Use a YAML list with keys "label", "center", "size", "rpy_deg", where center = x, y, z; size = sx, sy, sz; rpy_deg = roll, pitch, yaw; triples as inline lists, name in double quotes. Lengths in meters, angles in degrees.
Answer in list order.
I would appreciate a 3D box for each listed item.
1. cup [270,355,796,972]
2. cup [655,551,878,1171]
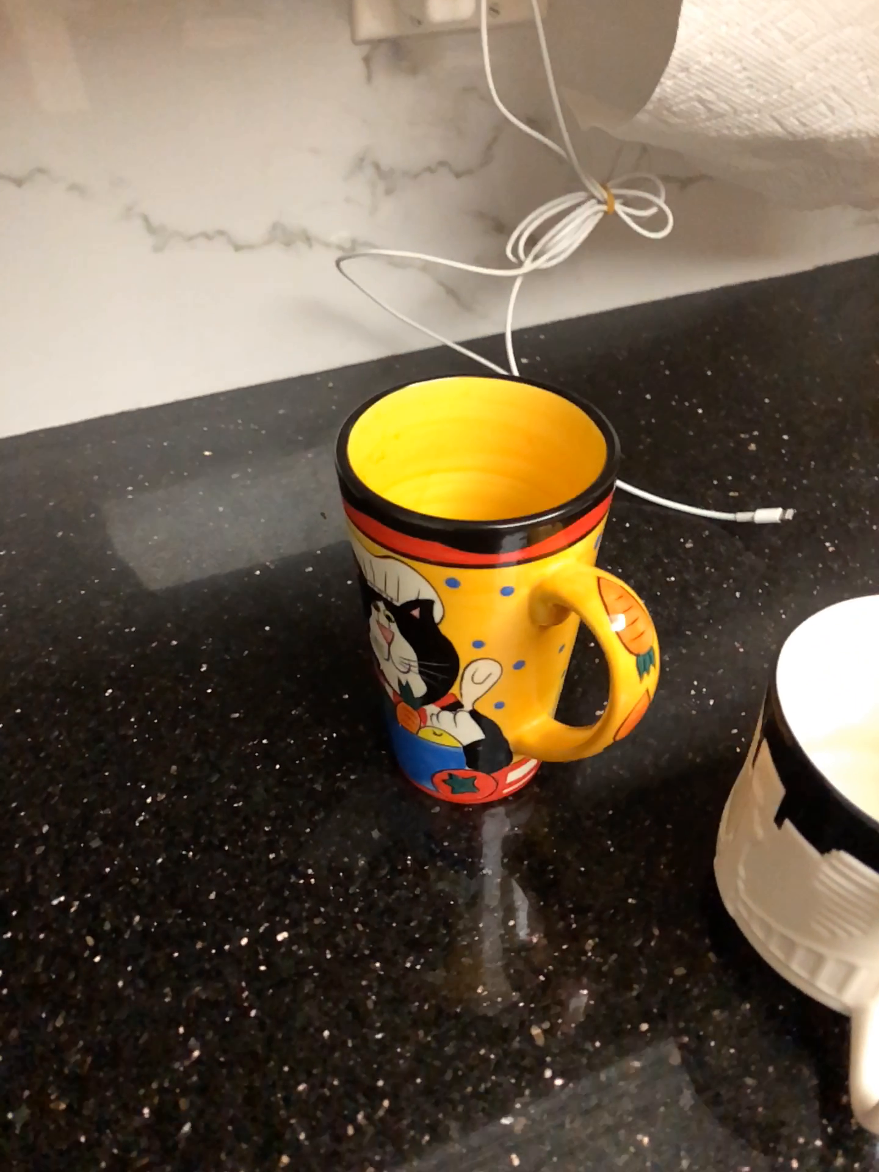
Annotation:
- label: "cup"
  center: [0.026, 0.024, 0.340]
  size: [0.130, 0.149, 0.090]
  rpy_deg: [32, 50, 32]
- label: "cup"
  center: [0.142, 0.087, 0.308]
  size: [0.100, 0.109, 0.151]
  rpy_deg: [14, 43, 17]
